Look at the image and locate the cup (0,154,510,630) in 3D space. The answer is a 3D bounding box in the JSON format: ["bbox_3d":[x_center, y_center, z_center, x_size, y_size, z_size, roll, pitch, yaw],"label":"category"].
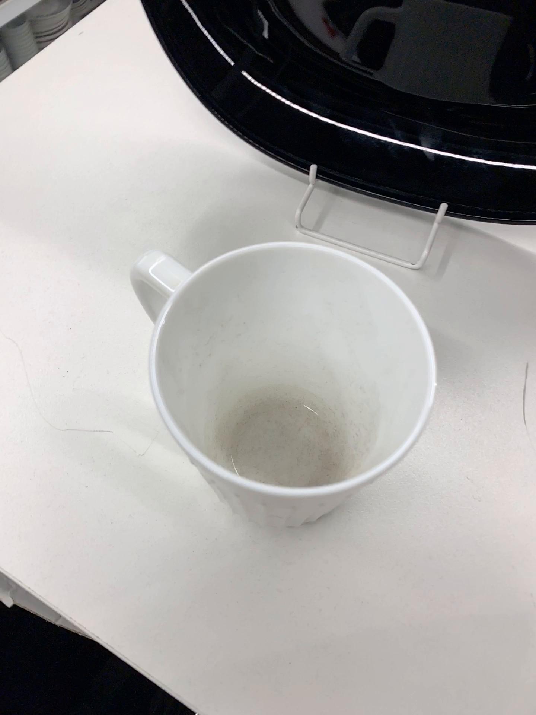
[{"bbox_3d":[-0.005,0.013,0.186,0.110,0.080,0.090,34,64,15],"label":"cup"}]
